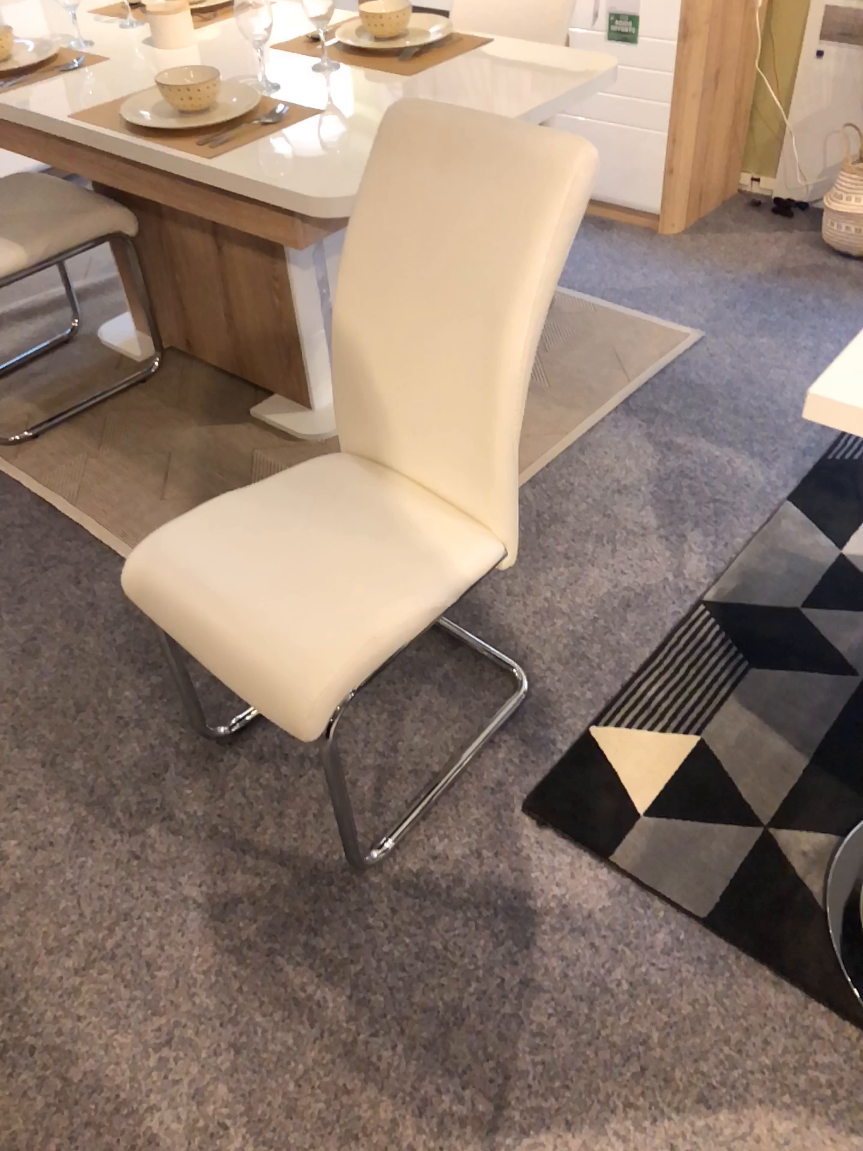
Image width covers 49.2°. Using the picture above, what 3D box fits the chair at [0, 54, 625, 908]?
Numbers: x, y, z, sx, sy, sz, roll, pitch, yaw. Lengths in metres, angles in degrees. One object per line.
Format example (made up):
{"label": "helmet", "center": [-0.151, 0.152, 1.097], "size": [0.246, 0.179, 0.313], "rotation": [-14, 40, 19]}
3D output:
{"label": "chair", "center": [-0.135, -0.116, 1.318], "size": [0.500, 0.925, 0.553], "rotation": [29, 51, 30]}
